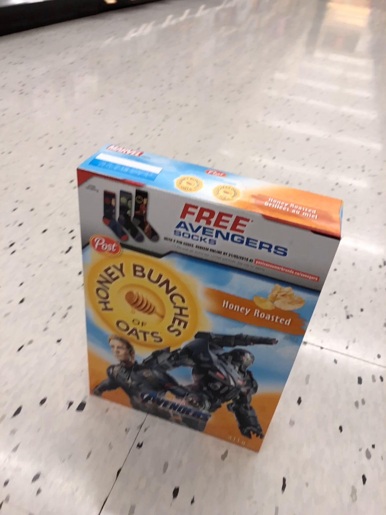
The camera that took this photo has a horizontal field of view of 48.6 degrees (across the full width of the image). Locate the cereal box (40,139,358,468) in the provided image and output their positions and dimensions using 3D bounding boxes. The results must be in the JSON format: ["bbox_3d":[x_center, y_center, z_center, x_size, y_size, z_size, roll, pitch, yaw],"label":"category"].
[{"bbox_3d":[-0.009,0.054,0.370,0.210,0.258,0.060,15,37,9],"label":"cereal box"}]
